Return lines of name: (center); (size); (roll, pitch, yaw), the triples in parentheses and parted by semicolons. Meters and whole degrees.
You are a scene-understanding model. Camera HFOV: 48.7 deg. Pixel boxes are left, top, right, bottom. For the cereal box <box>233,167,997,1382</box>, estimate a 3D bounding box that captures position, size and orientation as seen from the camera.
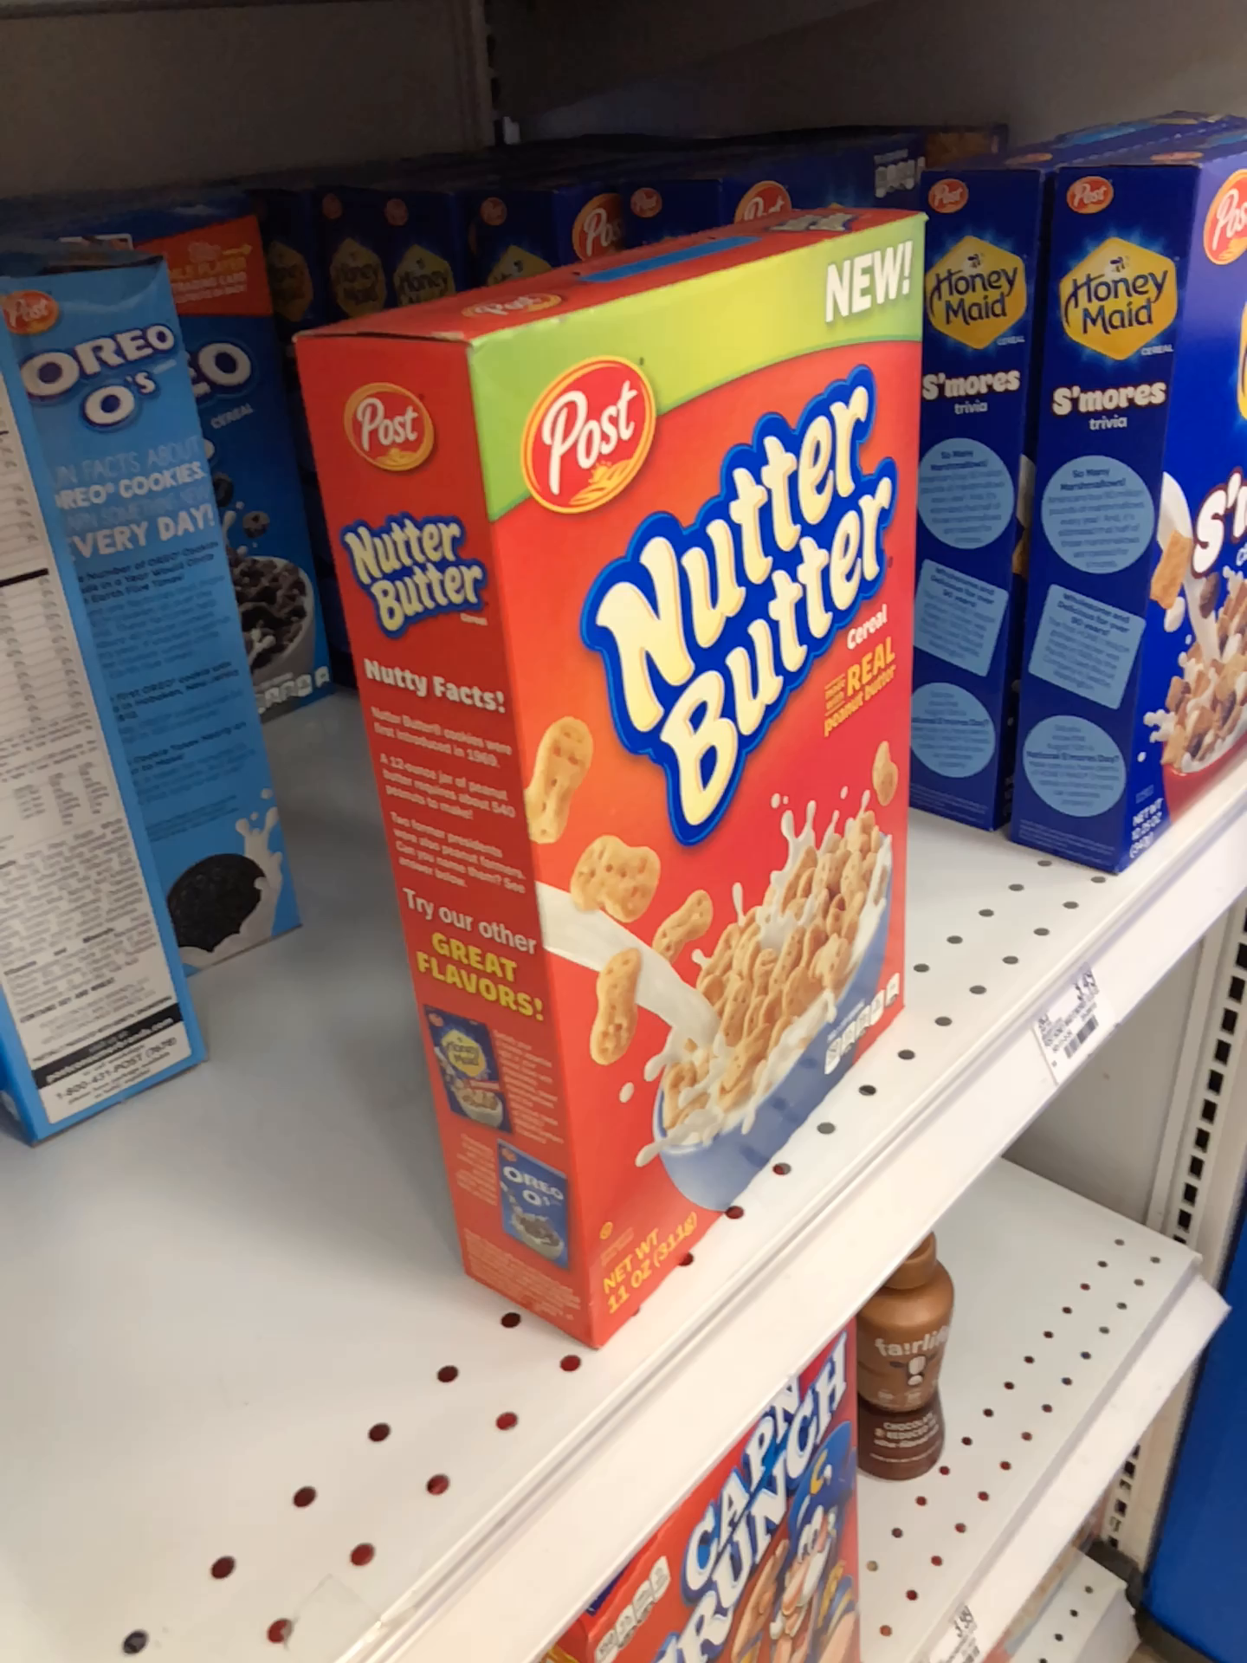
cereal box: (0.021, -0.025, 0.383); (0.070, 0.269, 0.200); (17, 36, 34)
